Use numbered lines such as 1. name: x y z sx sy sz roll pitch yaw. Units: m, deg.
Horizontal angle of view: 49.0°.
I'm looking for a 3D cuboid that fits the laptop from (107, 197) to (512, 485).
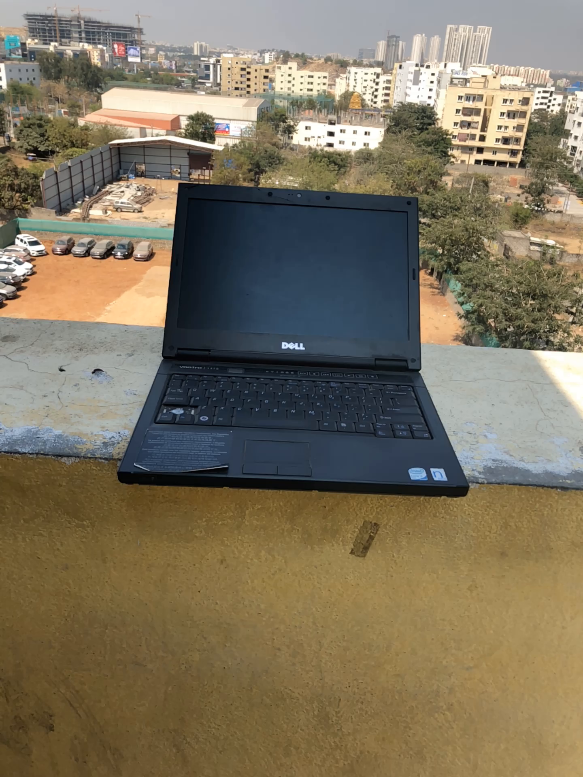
1. laptop: 0.012 -0.080 0.685 0.301 0.178 0.378 2 26 -1
